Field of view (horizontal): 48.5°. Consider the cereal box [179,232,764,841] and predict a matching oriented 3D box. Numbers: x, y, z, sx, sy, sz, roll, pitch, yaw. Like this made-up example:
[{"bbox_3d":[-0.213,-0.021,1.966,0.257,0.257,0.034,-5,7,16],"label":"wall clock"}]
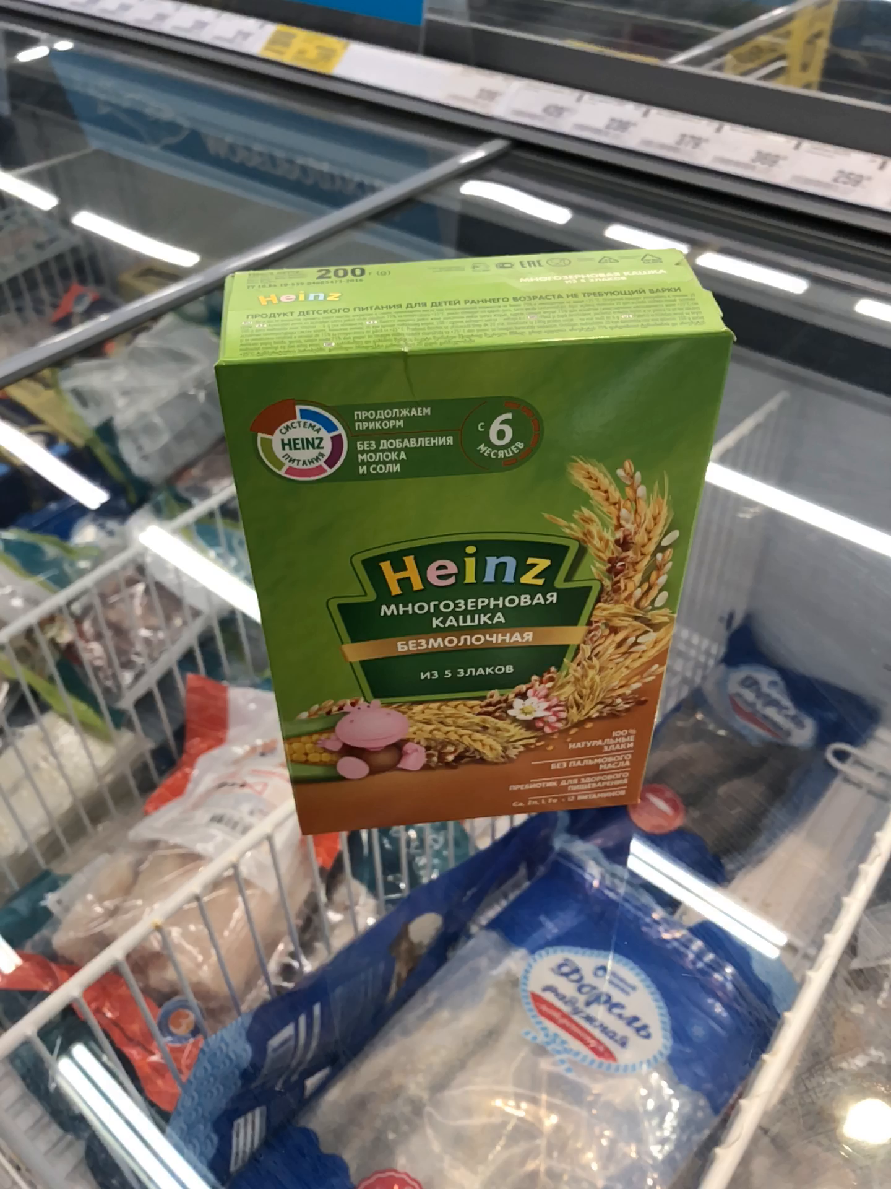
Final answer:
[{"bbox_3d":[0.007,-0.005,0.320,0.140,0.199,0.050,-4,42,-3],"label":"cereal box"}]
